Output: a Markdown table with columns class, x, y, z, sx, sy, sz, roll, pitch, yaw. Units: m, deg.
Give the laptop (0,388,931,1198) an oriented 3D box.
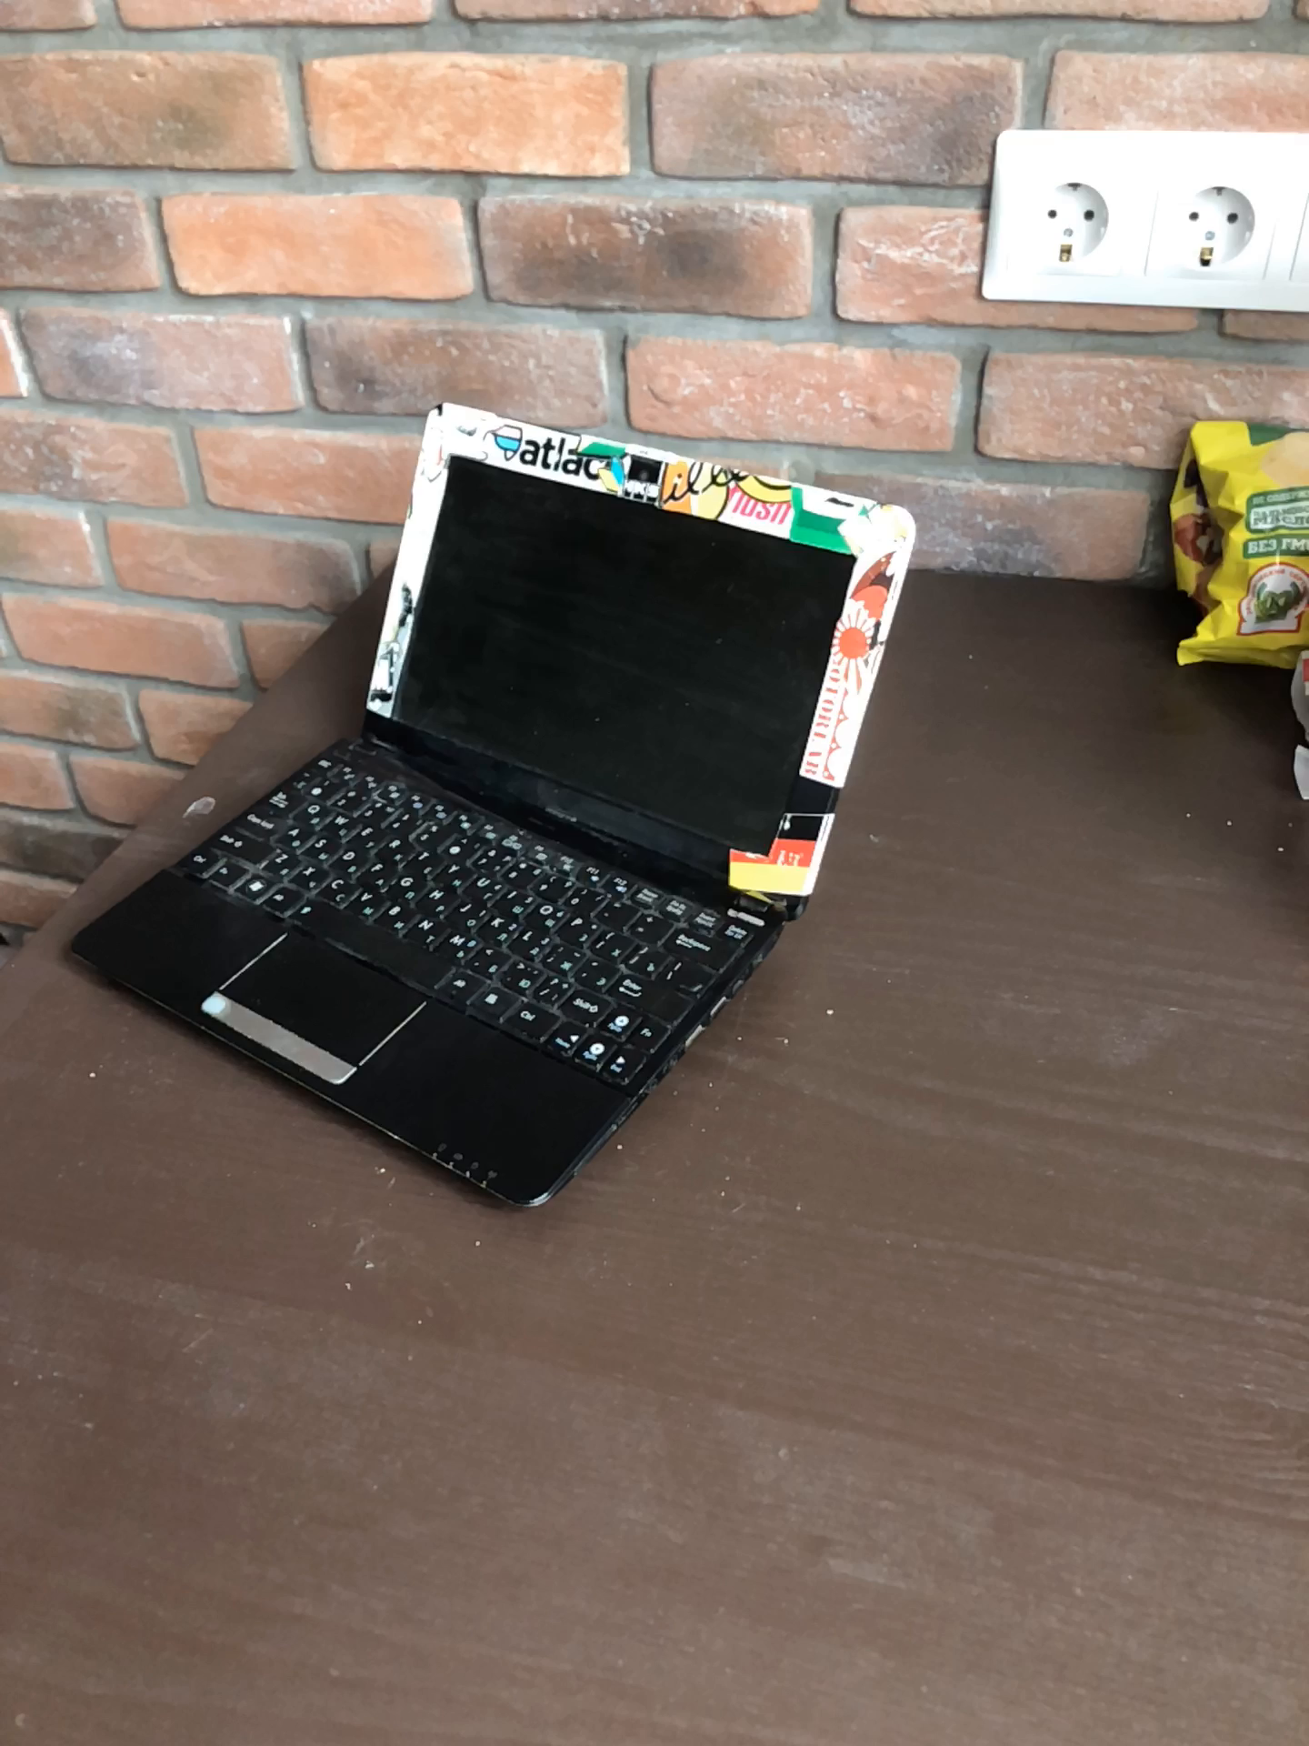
| class | x | y | z | sx | sy | sz | roll | pitch | yaw |
| --- | --- | --- | --- | --- | --- | --- | --- | --- | --- |
| laptop | -0.075 | -0.061 | 0.587 | 0.257 | 0.140 | 0.268 | 22 | 46 | 30 |
